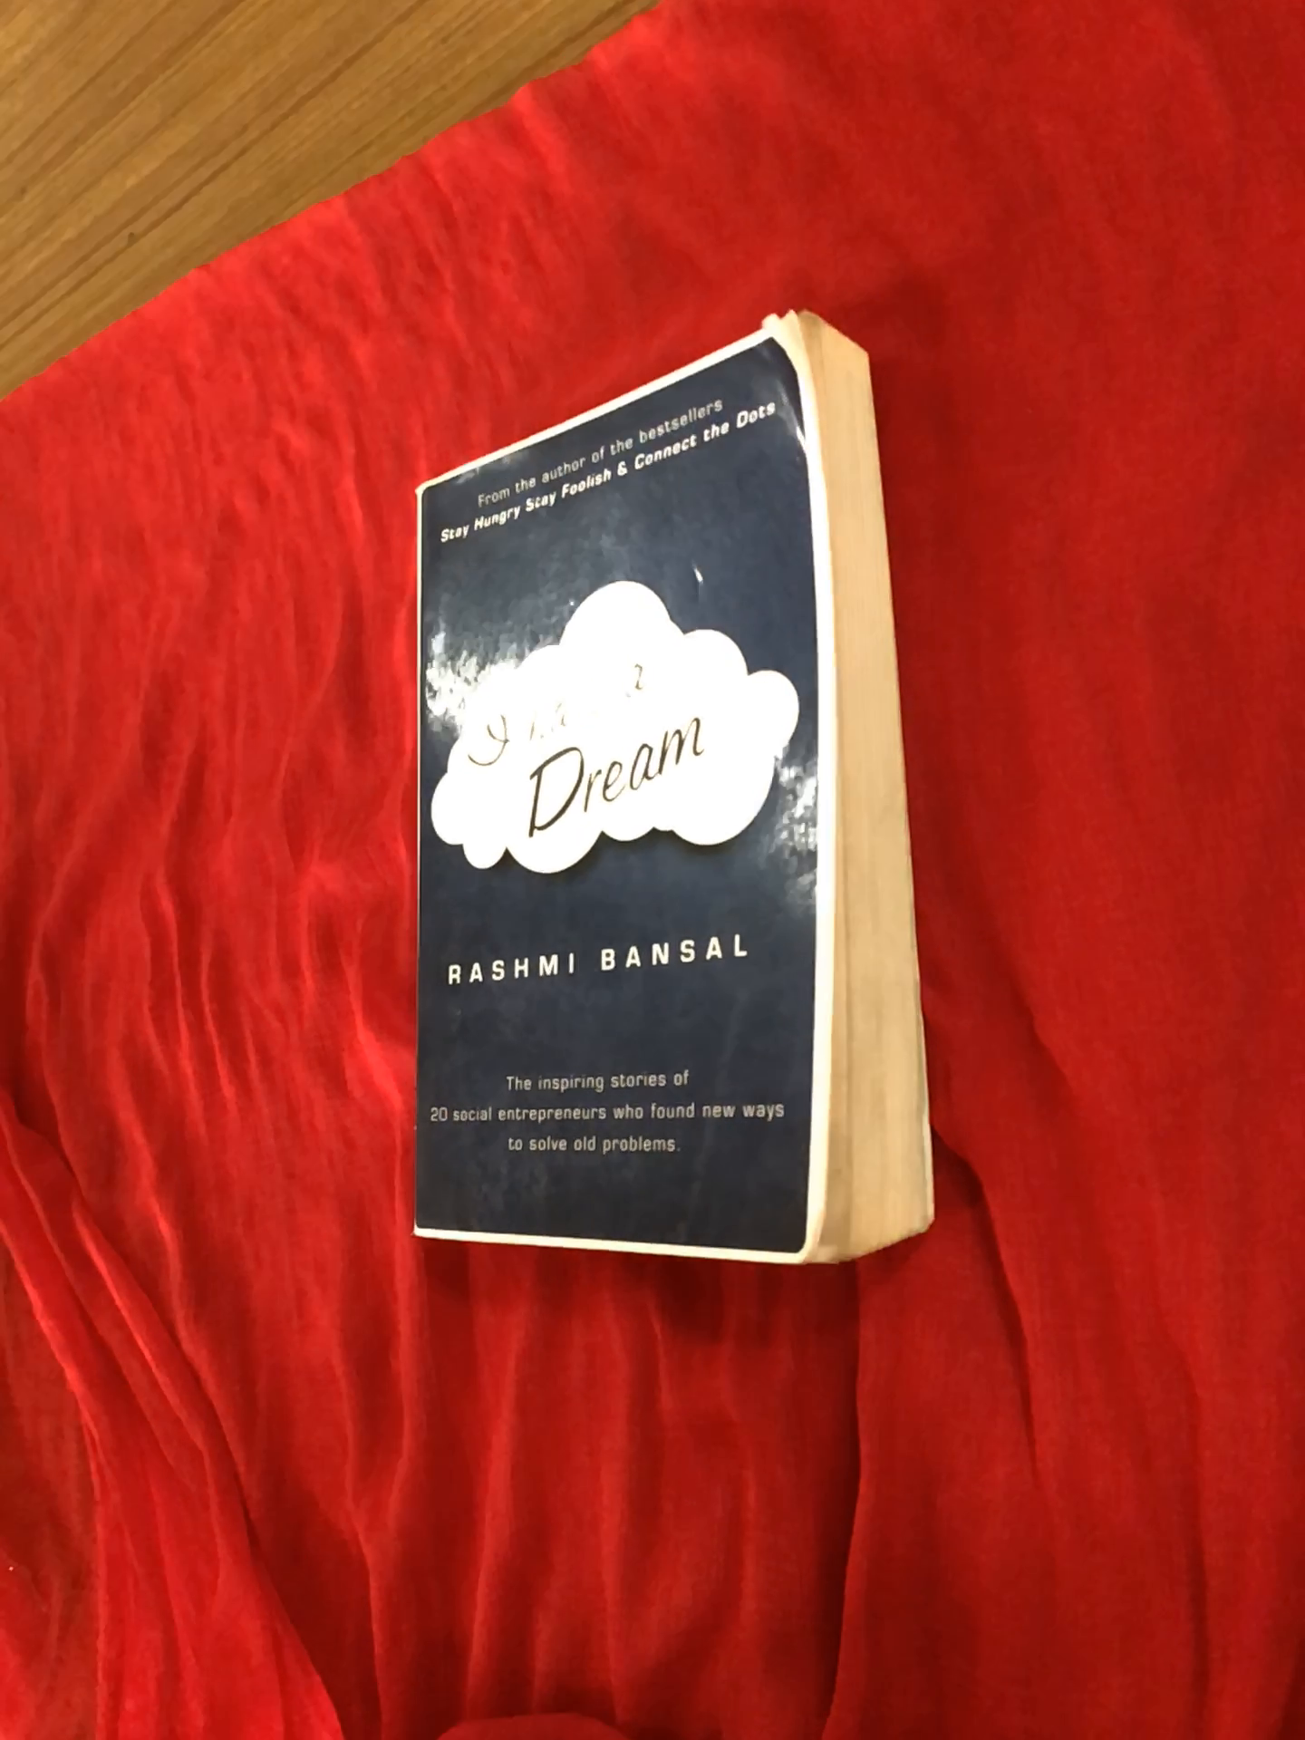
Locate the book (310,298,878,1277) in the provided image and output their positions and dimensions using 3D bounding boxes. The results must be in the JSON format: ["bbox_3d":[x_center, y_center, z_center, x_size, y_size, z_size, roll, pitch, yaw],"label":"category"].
[{"bbox_3d":[-0.021,-0.010,0.337,0.141,0.040,0.190,-10,76,43],"label":"book"}]
